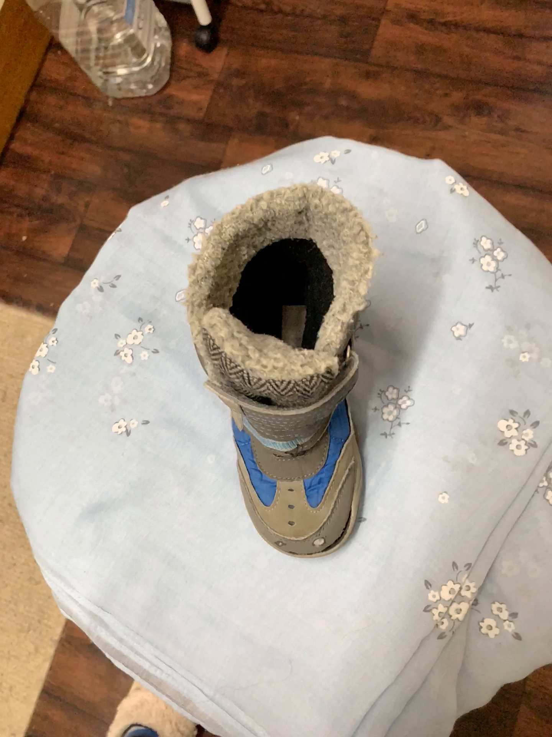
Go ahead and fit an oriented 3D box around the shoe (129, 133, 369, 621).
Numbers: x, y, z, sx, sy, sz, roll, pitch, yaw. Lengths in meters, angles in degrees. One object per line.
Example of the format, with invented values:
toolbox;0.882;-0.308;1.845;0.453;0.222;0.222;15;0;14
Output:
shoe;0.001;0.011;0.316;0.090;0.160;0.200;-2;79;11
